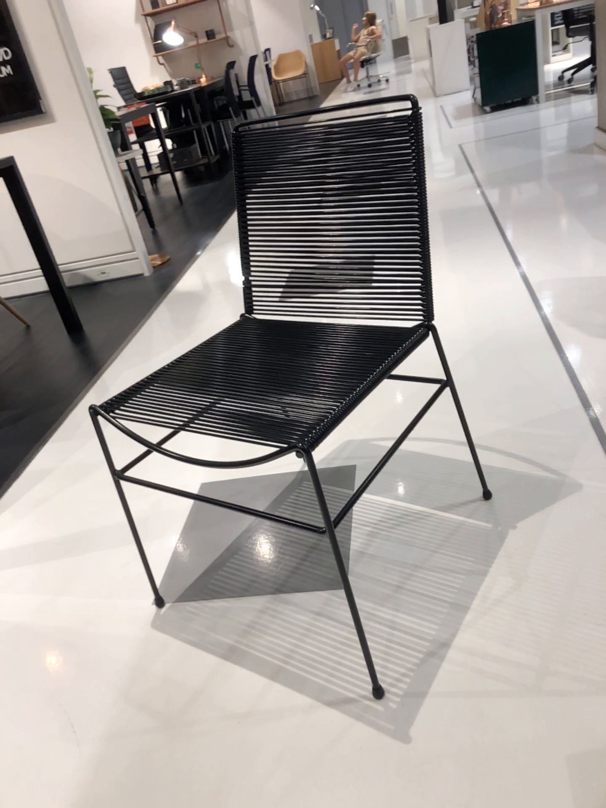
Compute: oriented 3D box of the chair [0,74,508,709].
[{"bbox_3d":[-0.023,-0.056,1.173,0.521,0.794,0.583,8,34,35],"label":"chair"}]
